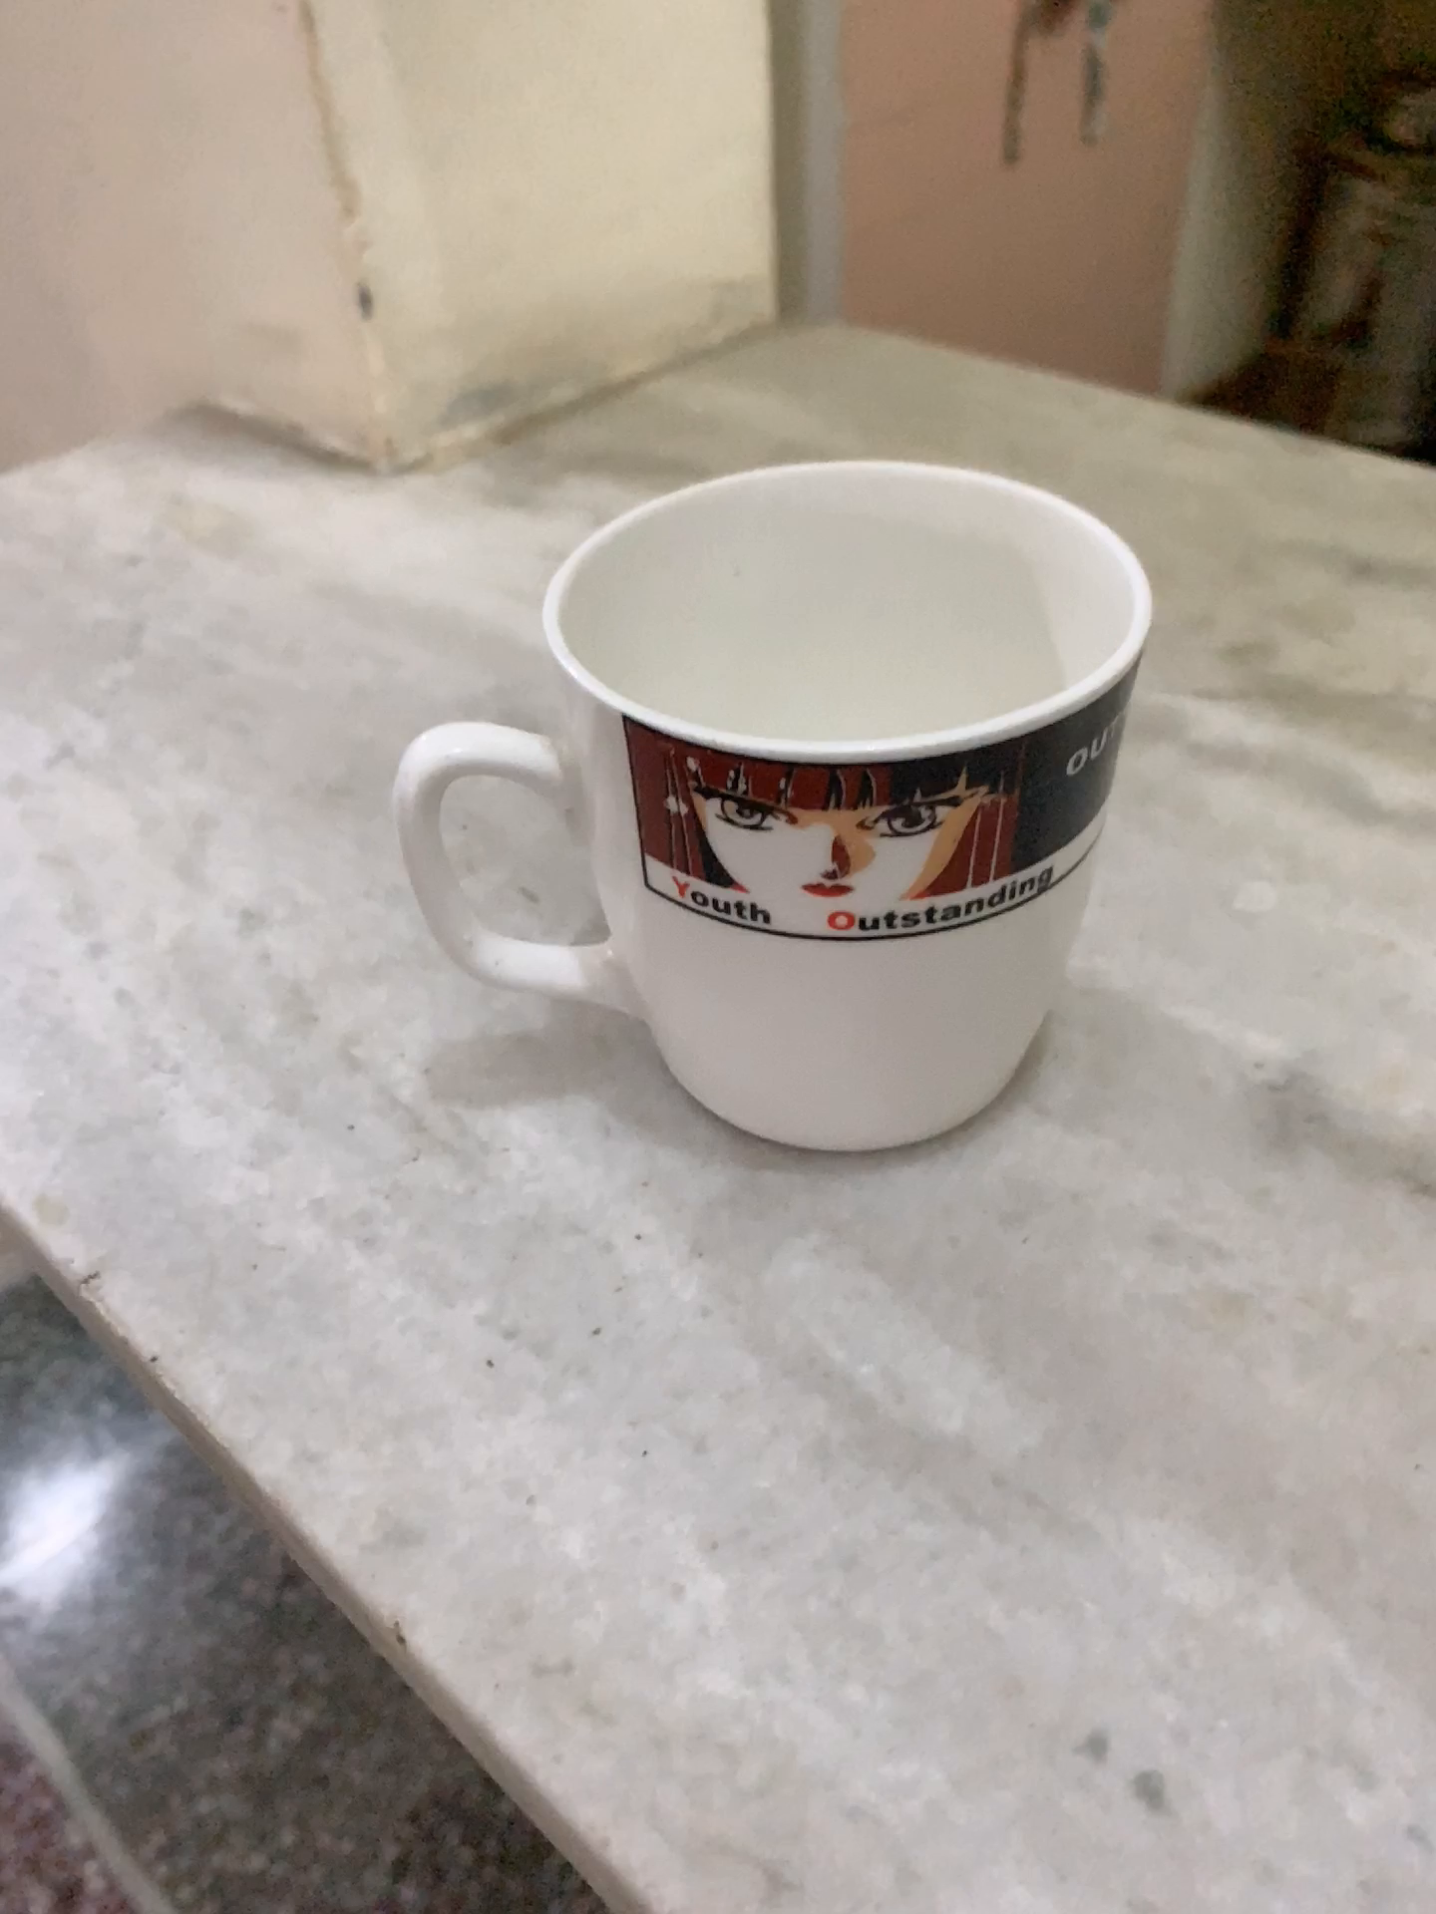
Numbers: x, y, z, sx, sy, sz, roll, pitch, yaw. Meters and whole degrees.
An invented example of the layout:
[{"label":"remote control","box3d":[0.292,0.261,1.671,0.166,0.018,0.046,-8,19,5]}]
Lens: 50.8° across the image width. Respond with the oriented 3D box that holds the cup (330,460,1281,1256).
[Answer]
[{"label":"cup","box3d":[0.007,-0.015,0.188,0.090,0.060,0.070,-6,40,-3]}]
